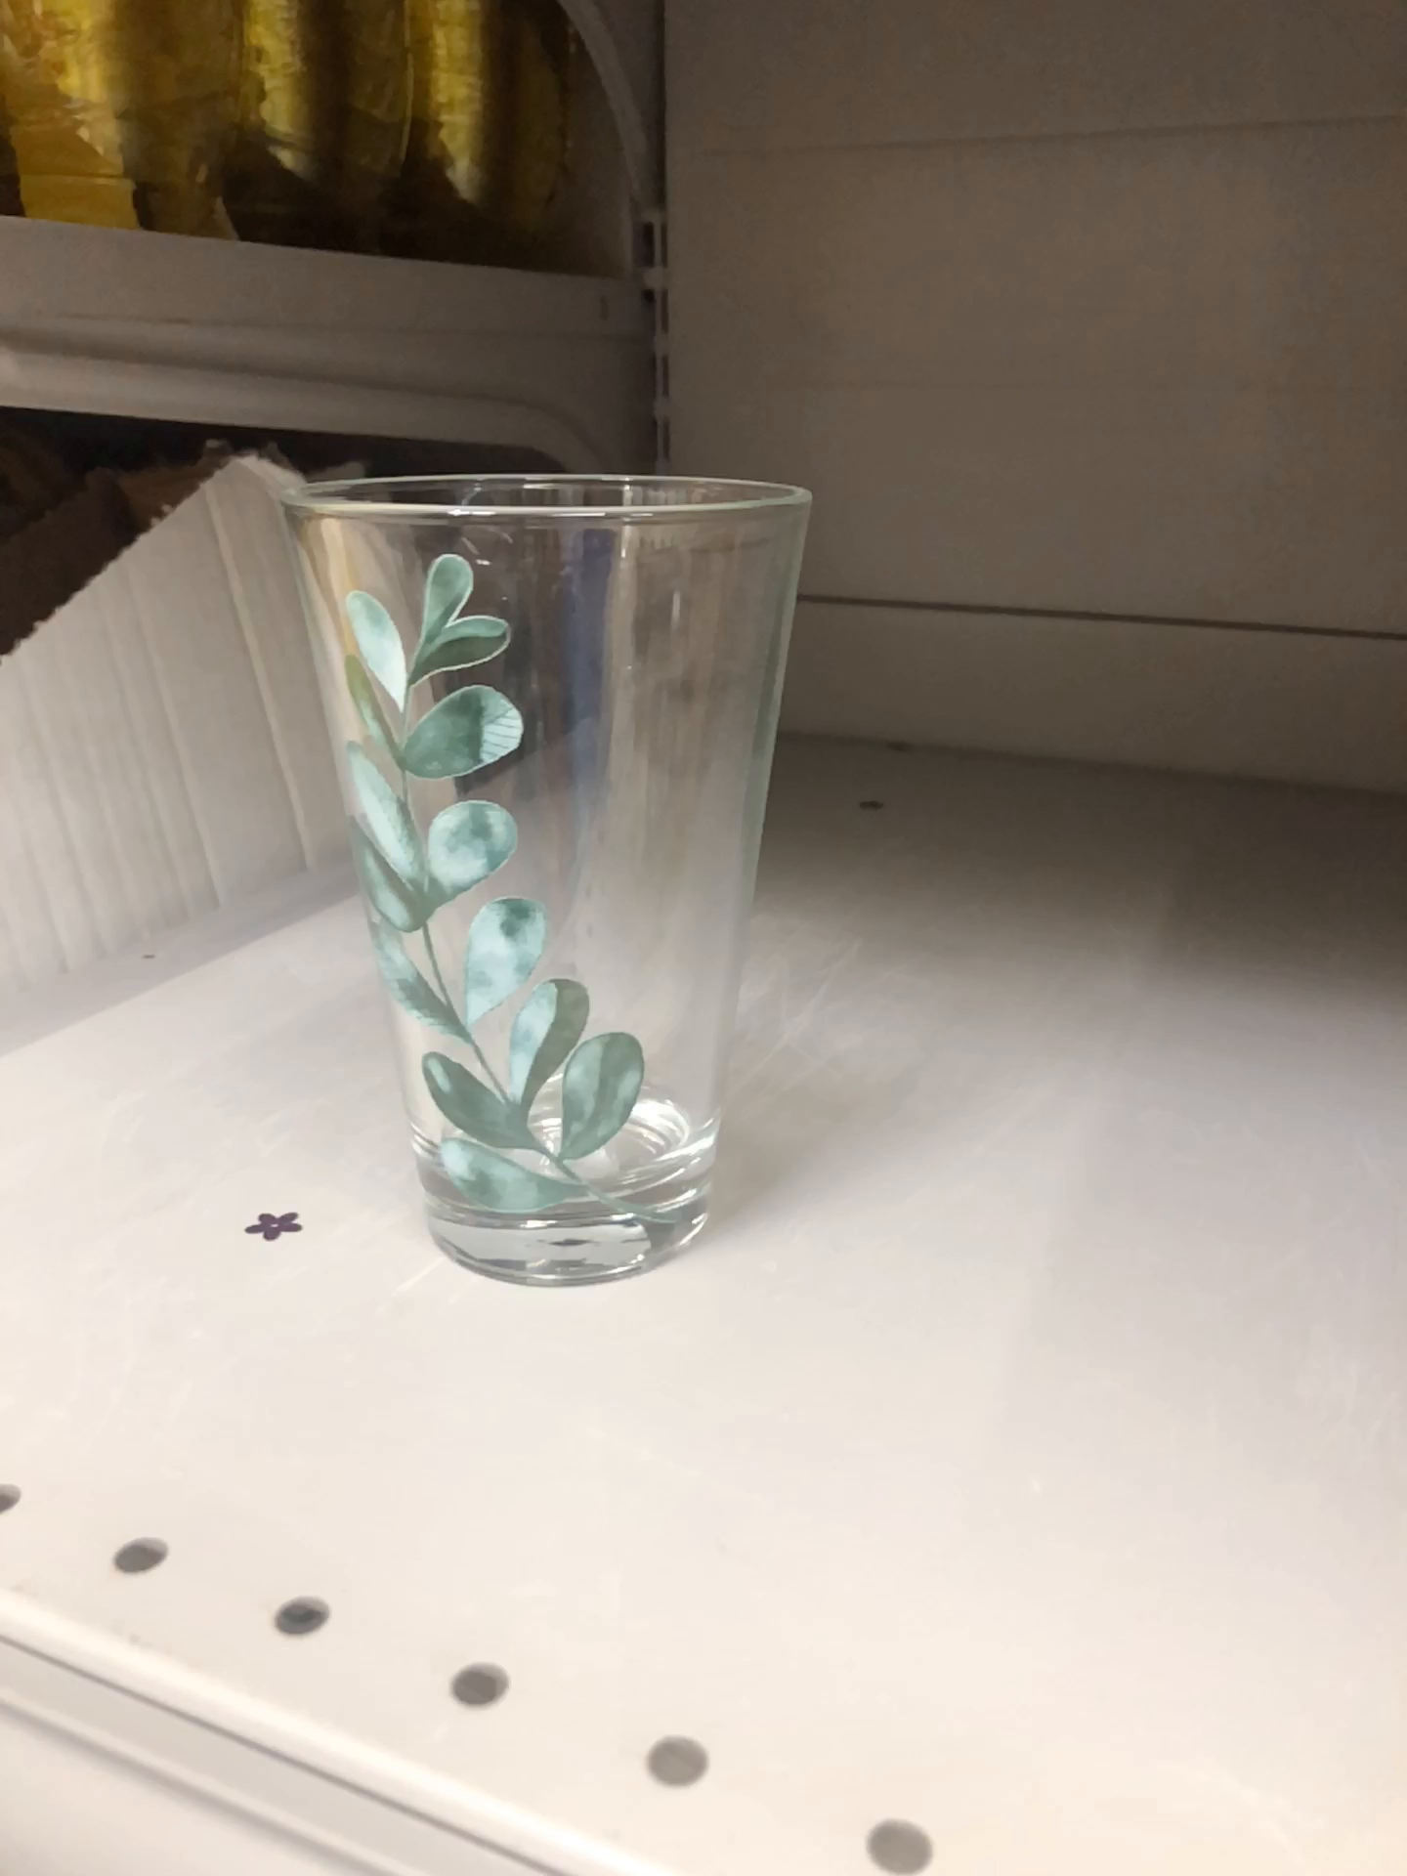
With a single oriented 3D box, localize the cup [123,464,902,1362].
[{"bbox_3d":[-0.025,-0.014,0.249,0.083,0.114,0.084,1,18,0],"label":"cup"}]
